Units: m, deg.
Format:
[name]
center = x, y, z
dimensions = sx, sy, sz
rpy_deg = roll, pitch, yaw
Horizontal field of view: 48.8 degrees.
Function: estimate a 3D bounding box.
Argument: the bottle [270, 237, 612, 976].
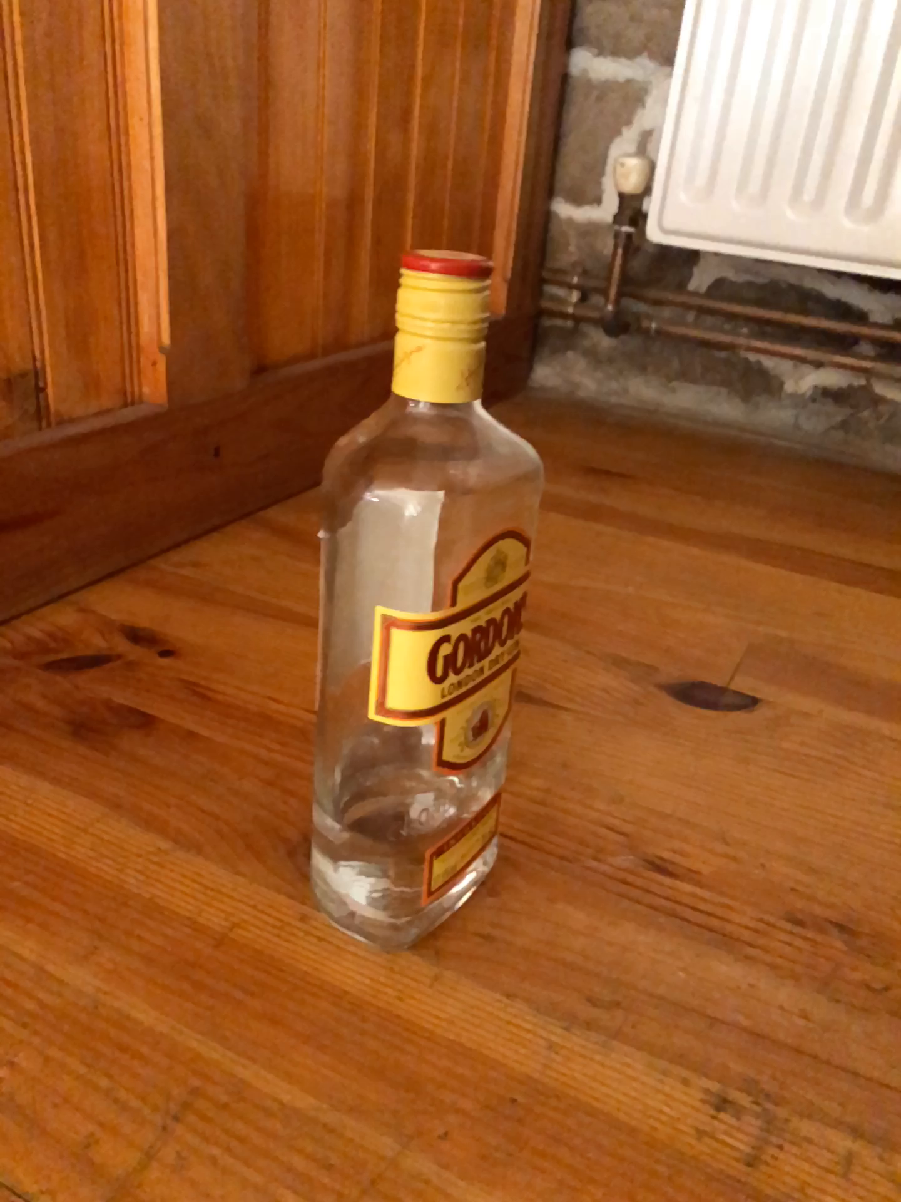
[bottle]
center = -0.009, 0.002, 0.353
dimensions = 0.060, 0.239, 0.091
rpy_deg = 21, 29, 29
